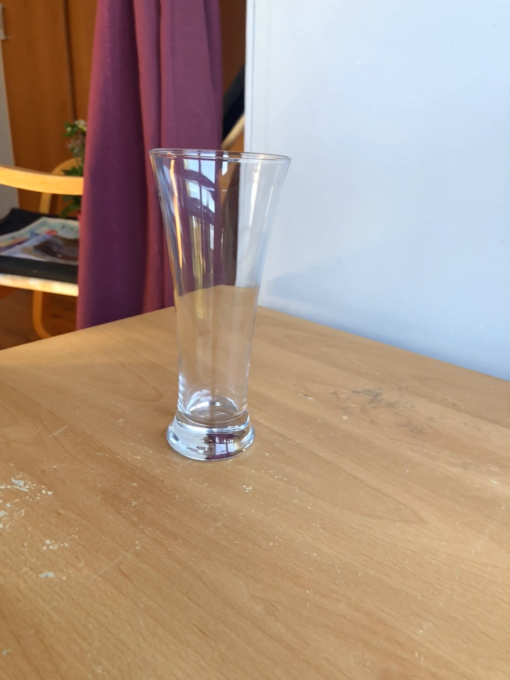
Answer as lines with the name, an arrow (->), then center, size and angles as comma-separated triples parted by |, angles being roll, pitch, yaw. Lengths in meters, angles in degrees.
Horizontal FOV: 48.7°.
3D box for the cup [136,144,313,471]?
cup -> -0.023, -0.021, 0.326 | 0.082, 0.168, 0.077 | 2, 21, -1
